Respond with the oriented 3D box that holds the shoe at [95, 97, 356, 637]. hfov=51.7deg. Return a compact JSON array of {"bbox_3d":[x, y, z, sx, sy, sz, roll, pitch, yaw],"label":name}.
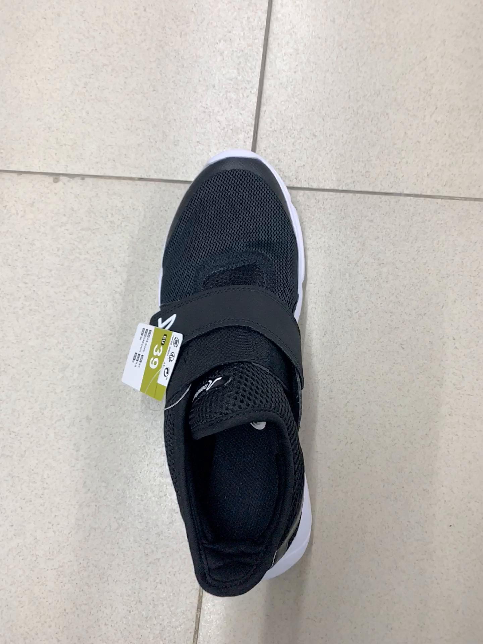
[{"bbox_3d":[-0.008,0.022,0.288,0.110,0.100,0.250,-5,82,7],"label":"shoe"}]
